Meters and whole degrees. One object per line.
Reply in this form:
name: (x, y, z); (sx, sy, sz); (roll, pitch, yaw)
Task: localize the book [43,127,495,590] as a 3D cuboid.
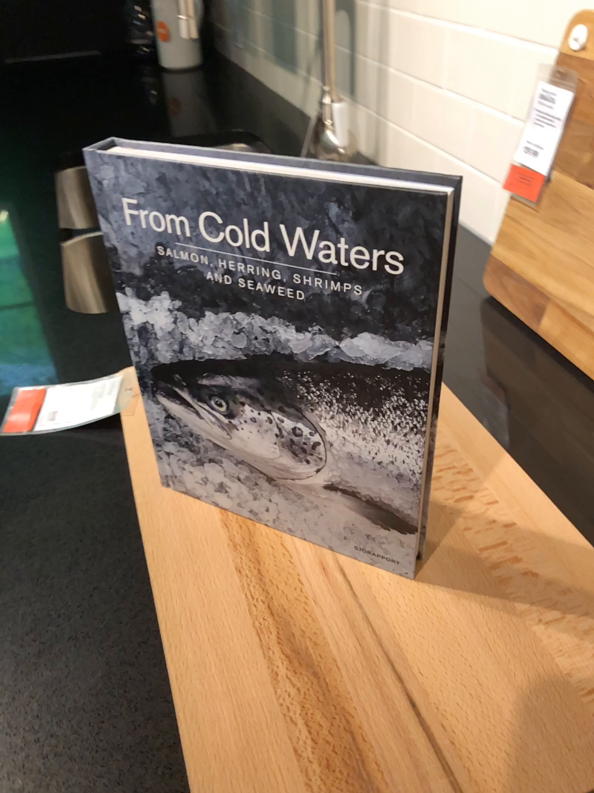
book: (-0.019, -0.017, 0.353); (0.213, 0.219, 0.029); (15, 39, 24)
